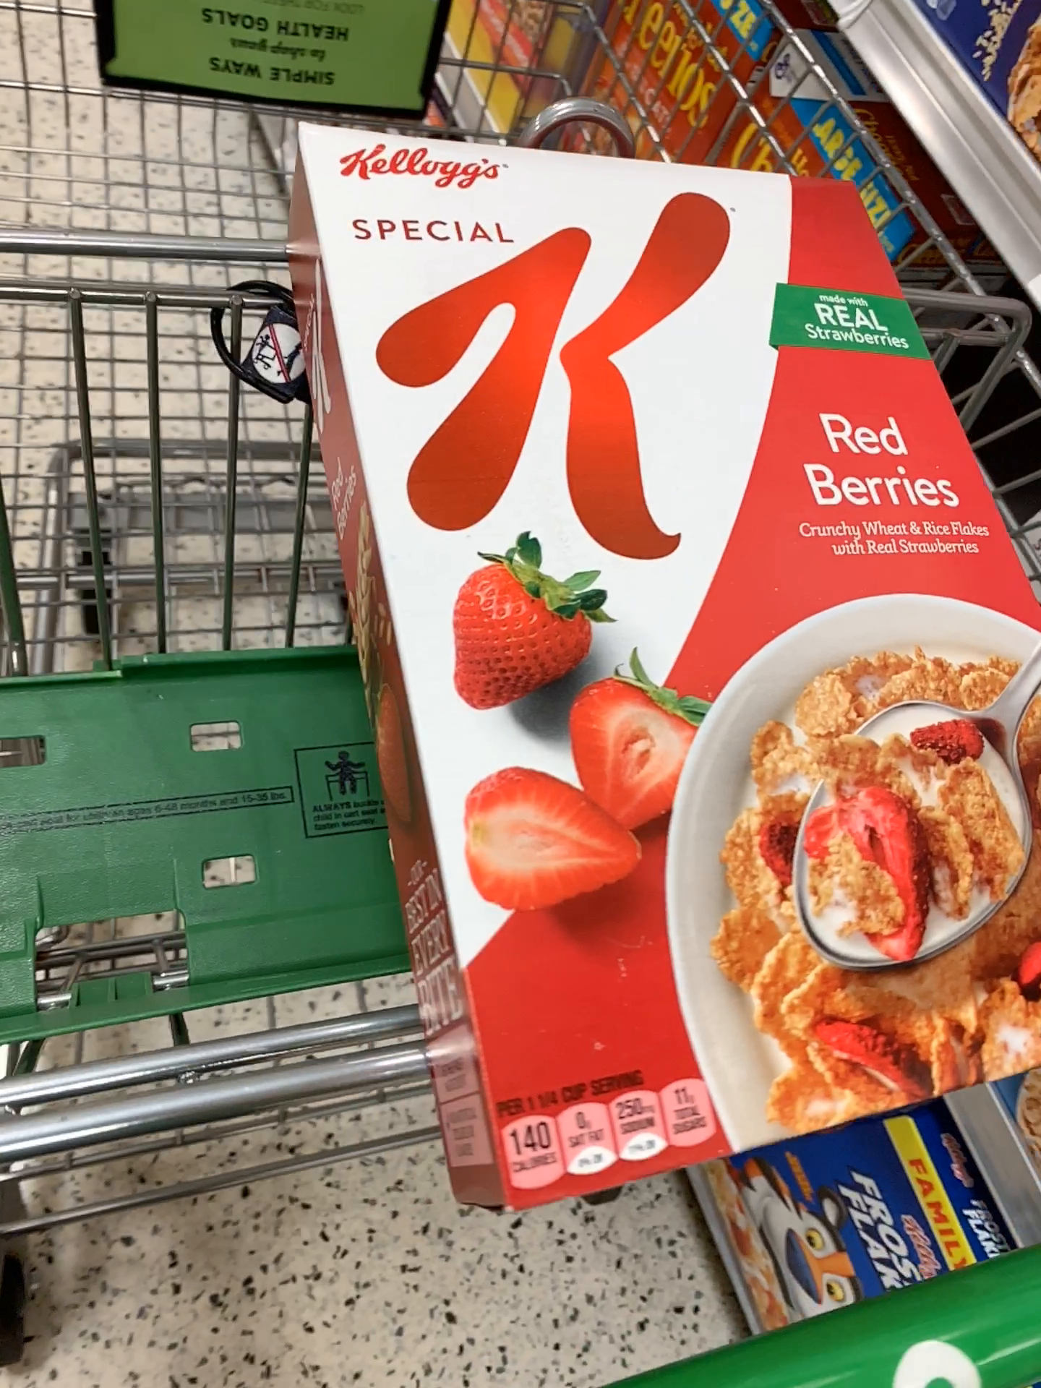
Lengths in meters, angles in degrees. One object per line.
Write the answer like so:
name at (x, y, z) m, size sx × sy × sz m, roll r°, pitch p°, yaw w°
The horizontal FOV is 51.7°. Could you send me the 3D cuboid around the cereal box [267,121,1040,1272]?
cereal box at (0.052, -0.025, 0.297) m, size 0.200 × 0.050 × 0.281 m, roll -5°, pitch 67°, yaw -22°
